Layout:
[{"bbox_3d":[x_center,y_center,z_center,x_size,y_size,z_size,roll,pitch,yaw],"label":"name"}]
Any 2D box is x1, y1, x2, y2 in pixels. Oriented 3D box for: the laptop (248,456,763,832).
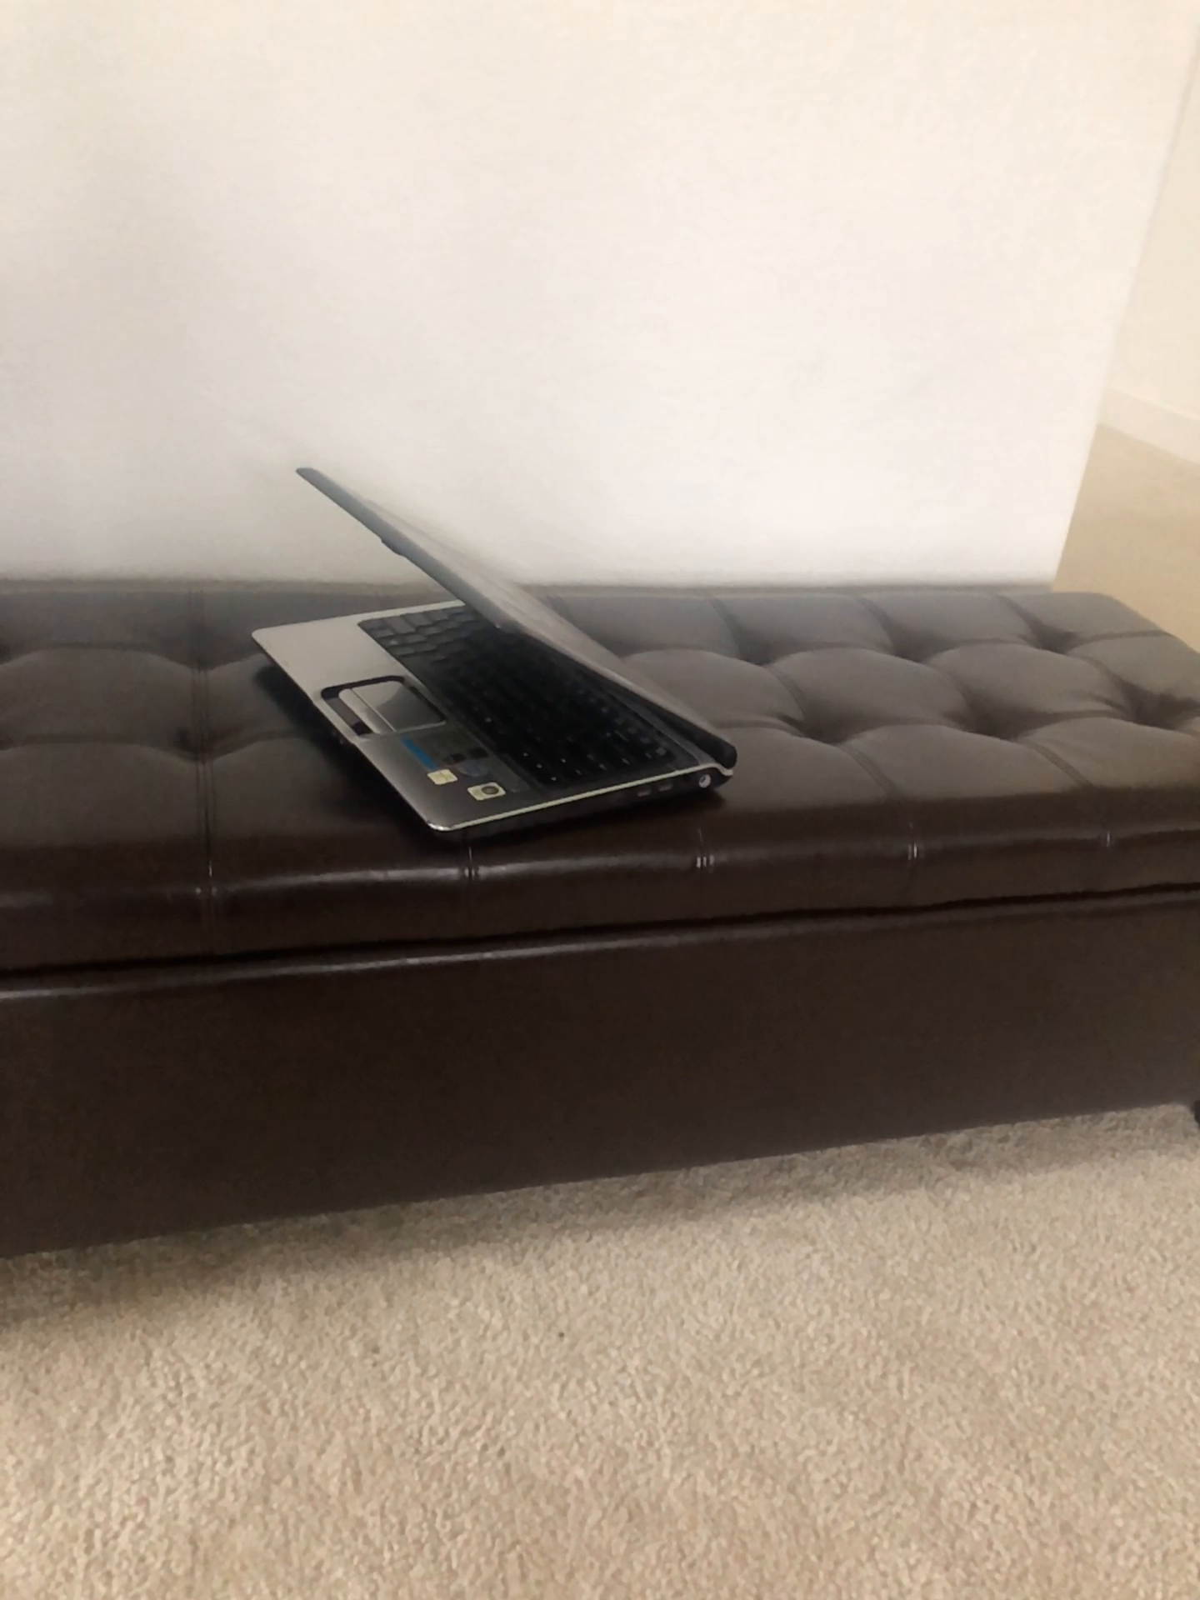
[{"bbox_3d":[-0.083,-0.132,0.936,0.230,0.122,0.334,-12,33,-30],"label":"laptop"}]
